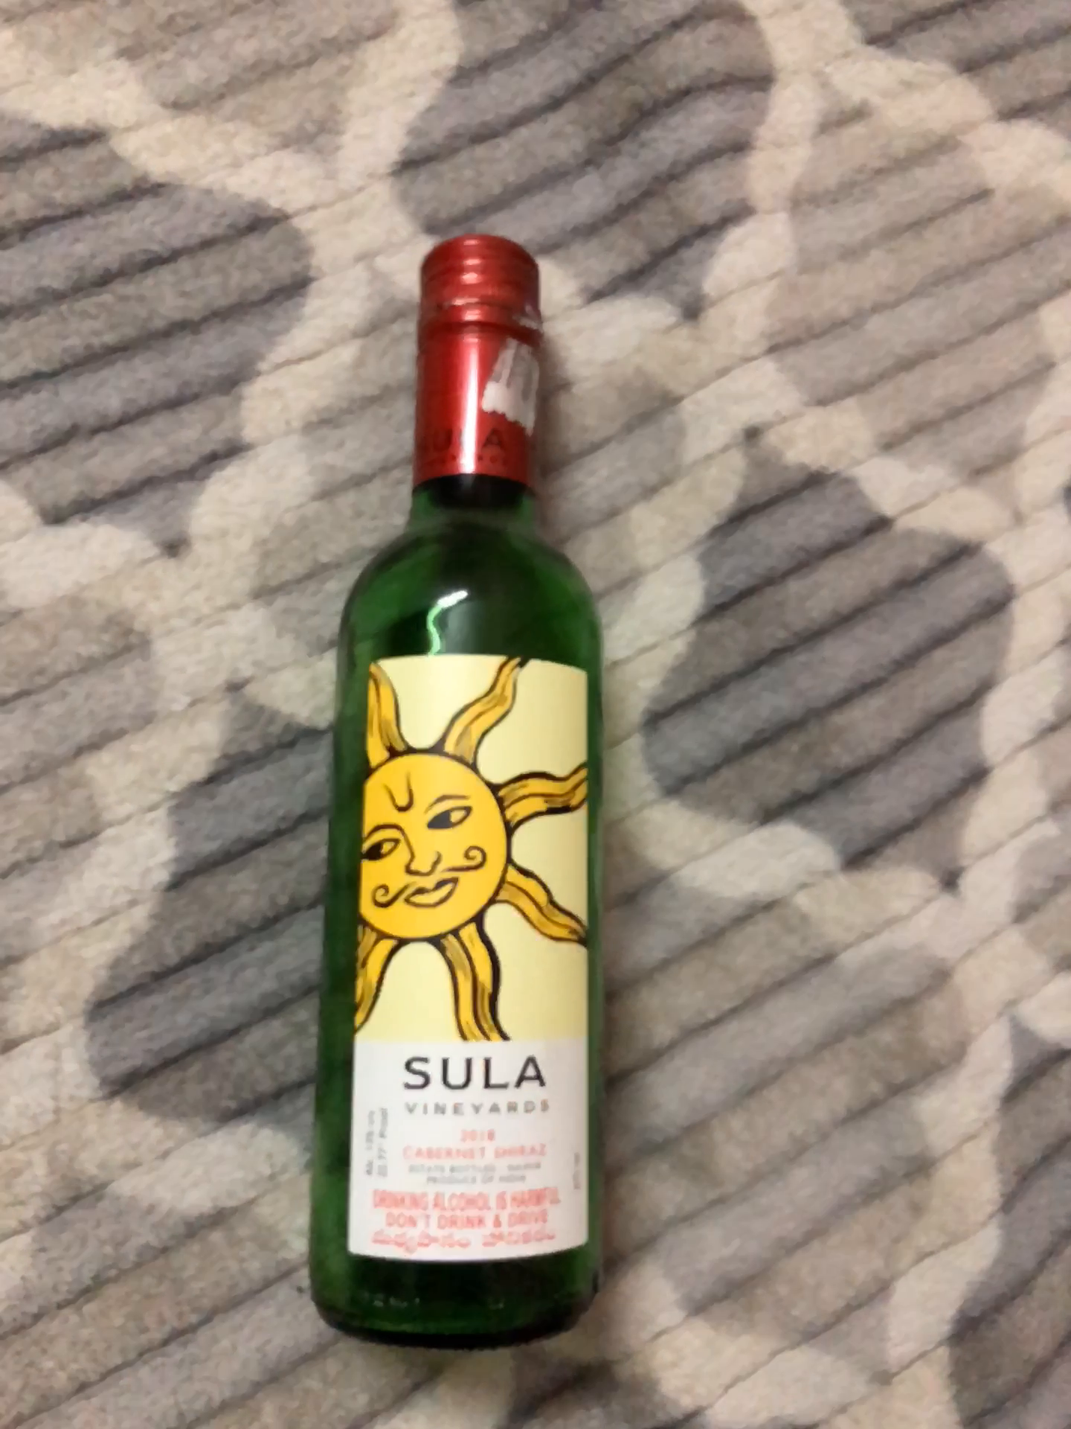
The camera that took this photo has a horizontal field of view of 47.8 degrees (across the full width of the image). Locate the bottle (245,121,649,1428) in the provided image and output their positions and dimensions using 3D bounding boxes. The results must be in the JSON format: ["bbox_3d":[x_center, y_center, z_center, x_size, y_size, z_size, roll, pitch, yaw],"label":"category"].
[{"bbox_3d":[-0.015,0.008,0.236,0.060,0.050,0.230,3,80,-7],"label":"bottle"}]
